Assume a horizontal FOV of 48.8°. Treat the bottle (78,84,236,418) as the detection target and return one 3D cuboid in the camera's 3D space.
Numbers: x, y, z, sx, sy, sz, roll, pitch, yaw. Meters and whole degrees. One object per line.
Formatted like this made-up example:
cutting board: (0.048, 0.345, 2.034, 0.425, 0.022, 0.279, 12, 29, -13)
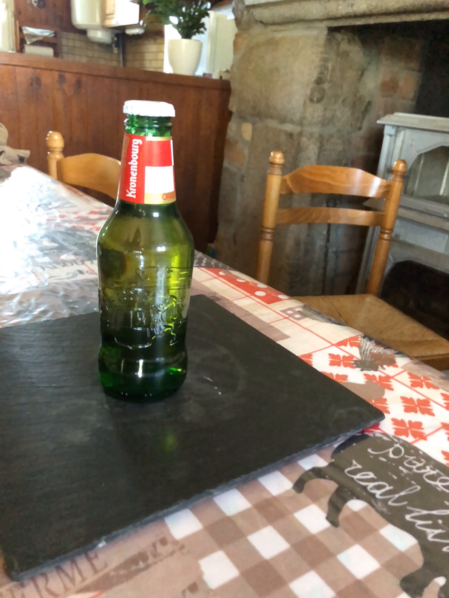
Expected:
bottle: (-0.044, -0.029, 0.300, 0.060, 0.179, 0.060, 5, 21, -2)
